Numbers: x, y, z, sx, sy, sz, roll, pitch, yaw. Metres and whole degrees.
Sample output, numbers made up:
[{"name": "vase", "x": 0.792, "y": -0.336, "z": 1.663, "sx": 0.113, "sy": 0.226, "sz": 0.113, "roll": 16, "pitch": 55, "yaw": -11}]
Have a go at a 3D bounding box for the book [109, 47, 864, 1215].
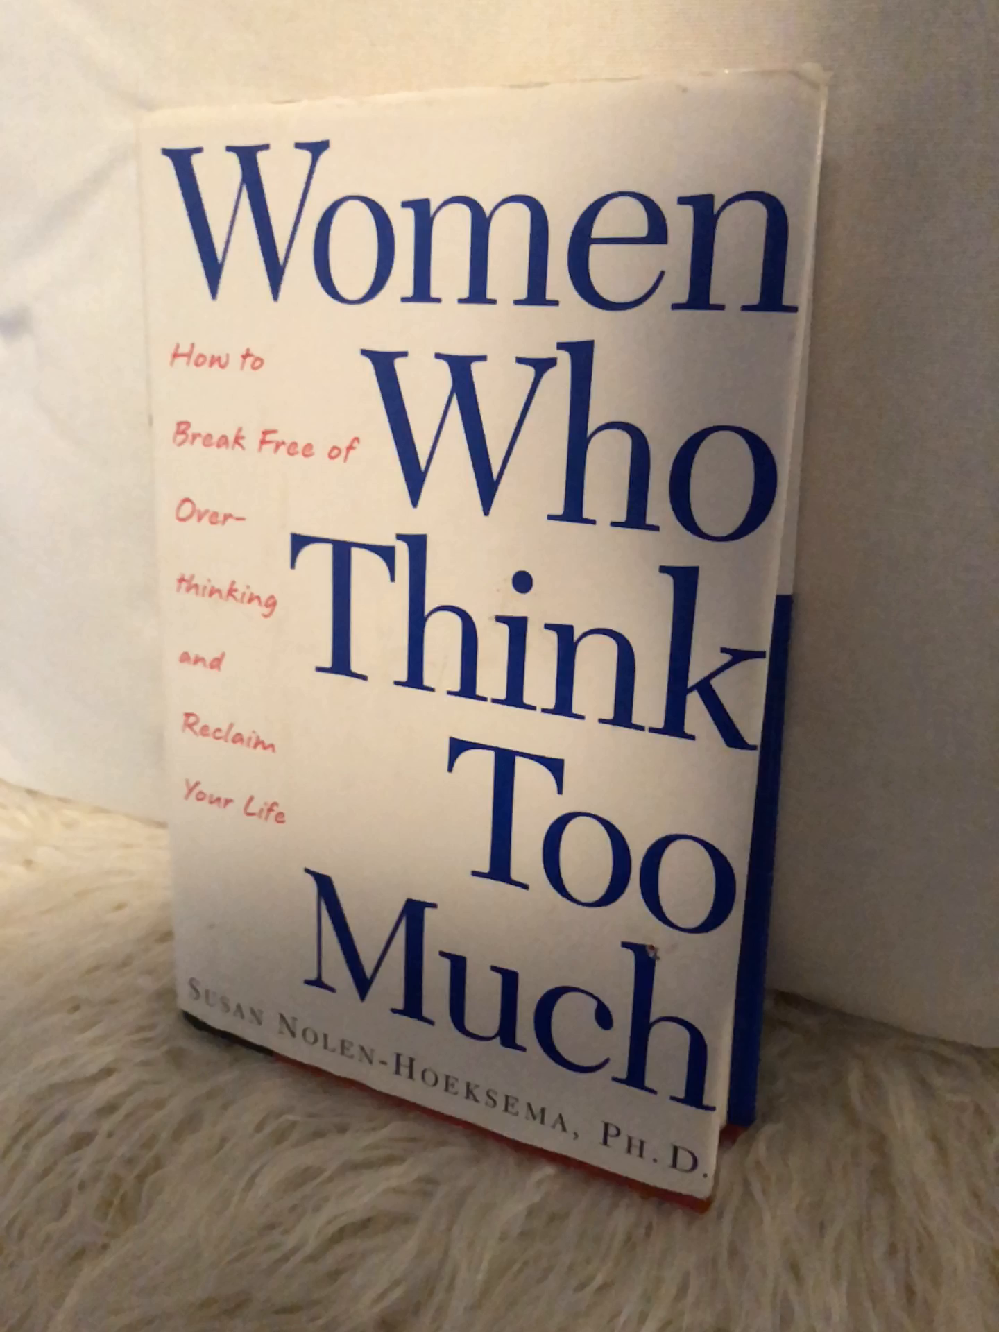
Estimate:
[{"name": "book", "x": -0.015, "y": -0.009, "z": 0.275, "sx": 0.166, "sy": 0.241, "sz": 0.040, "roll": 10, "pitch": 15, "yaw": 23}]
